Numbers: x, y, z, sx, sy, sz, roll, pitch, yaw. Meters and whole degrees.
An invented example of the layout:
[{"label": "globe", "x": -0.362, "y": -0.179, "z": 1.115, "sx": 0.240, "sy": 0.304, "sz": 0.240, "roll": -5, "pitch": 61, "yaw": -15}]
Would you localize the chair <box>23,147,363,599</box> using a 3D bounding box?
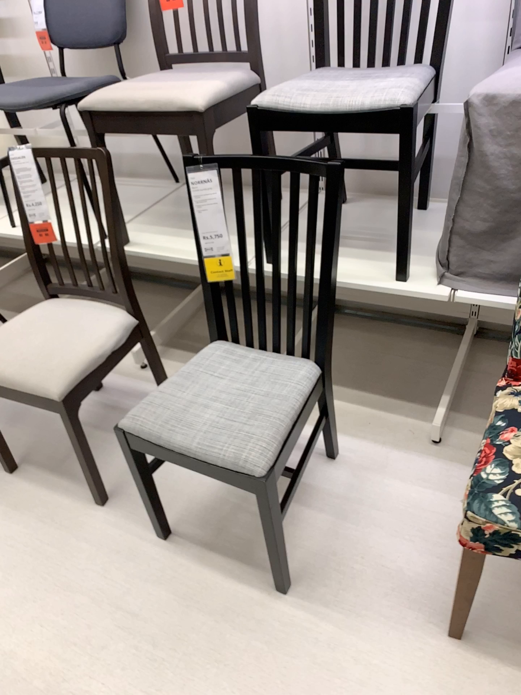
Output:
[{"label": "chair", "x": -0.057, "y": 0.055, "z": 1.321, "sx": 0.441, "sy": 0.896, "sz": 0.551, "roll": 13, "pitch": 41, "yaw": 27}]
